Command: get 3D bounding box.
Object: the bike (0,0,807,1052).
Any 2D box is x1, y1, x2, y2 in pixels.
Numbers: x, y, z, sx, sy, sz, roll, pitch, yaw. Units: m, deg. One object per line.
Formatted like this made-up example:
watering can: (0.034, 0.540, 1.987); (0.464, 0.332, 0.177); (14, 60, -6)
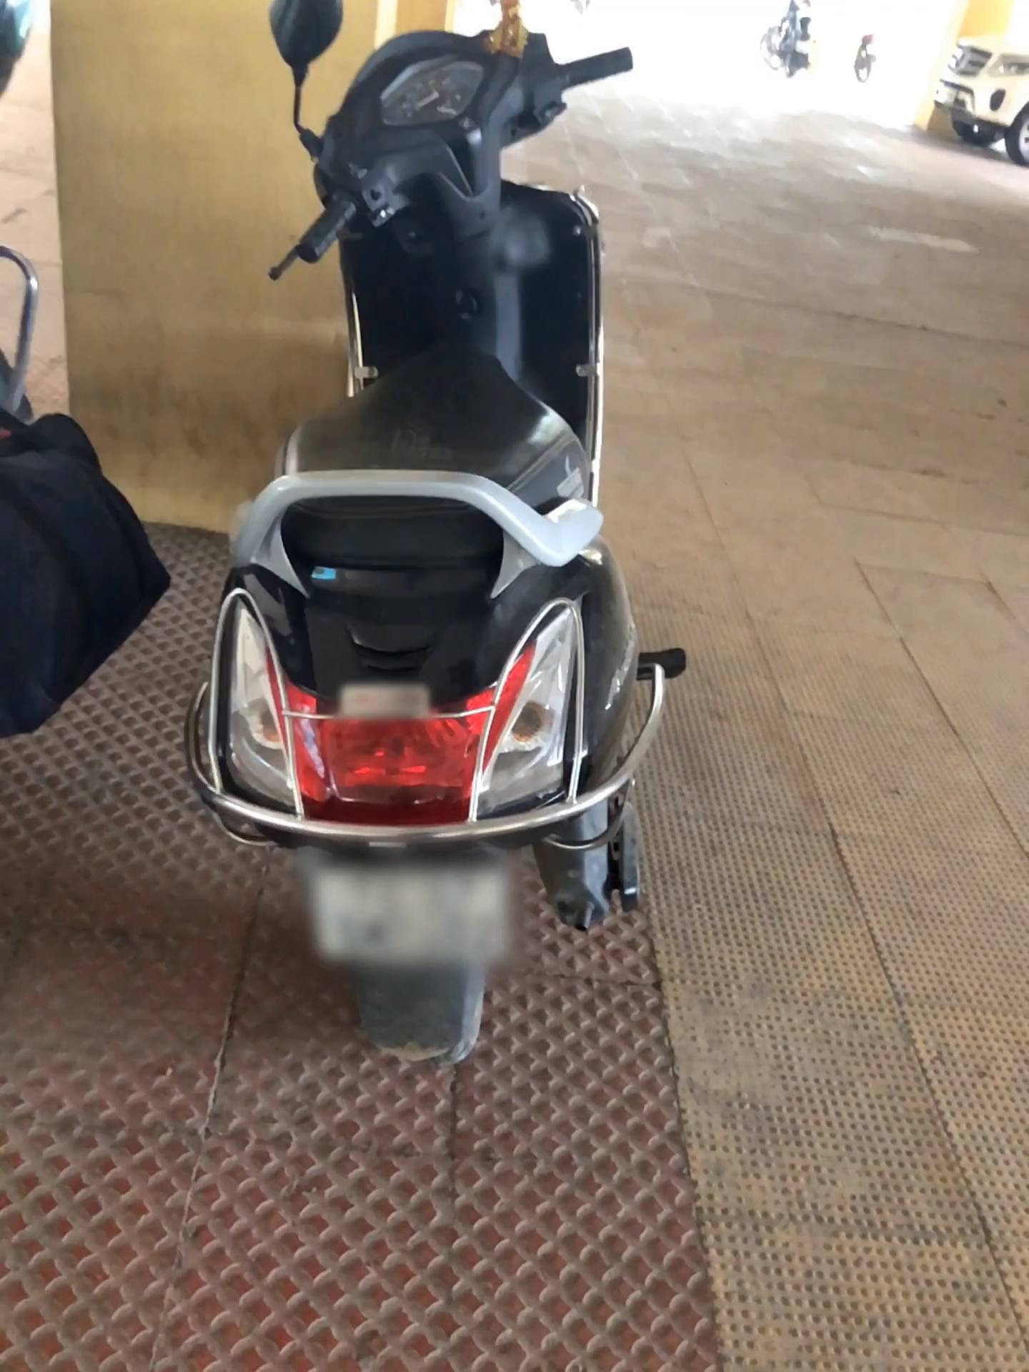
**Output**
bike: (-0.258, -0.478, 1.676); (0.621, 0.882, 1.668); (5, 34, -10)
